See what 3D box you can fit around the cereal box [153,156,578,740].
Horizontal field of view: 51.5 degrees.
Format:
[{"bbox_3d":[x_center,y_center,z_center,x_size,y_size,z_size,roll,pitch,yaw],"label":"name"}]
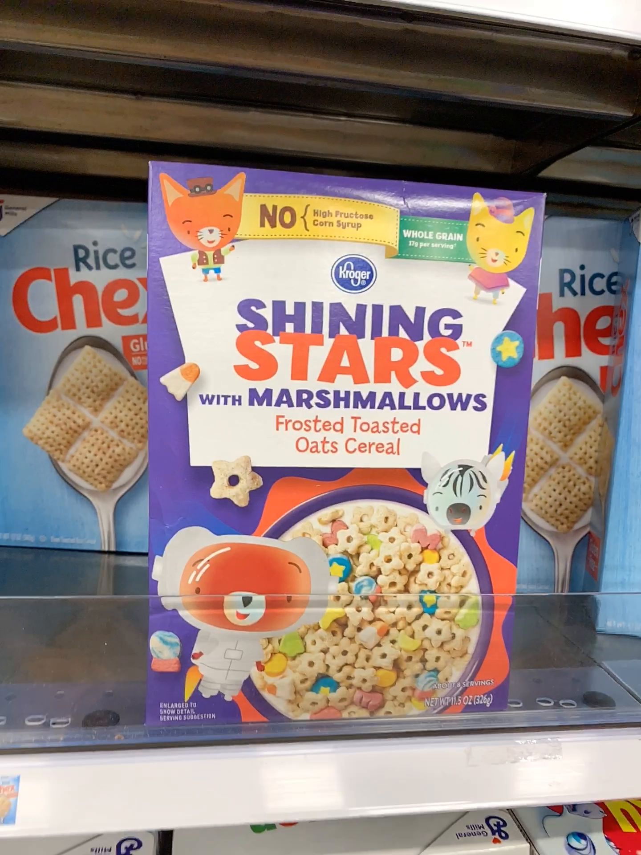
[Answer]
[{"bbox_3d":[0.018,0.014,0.346,0.200,0.270,0.050,1,7,-10],"label":"cereal box"}]
